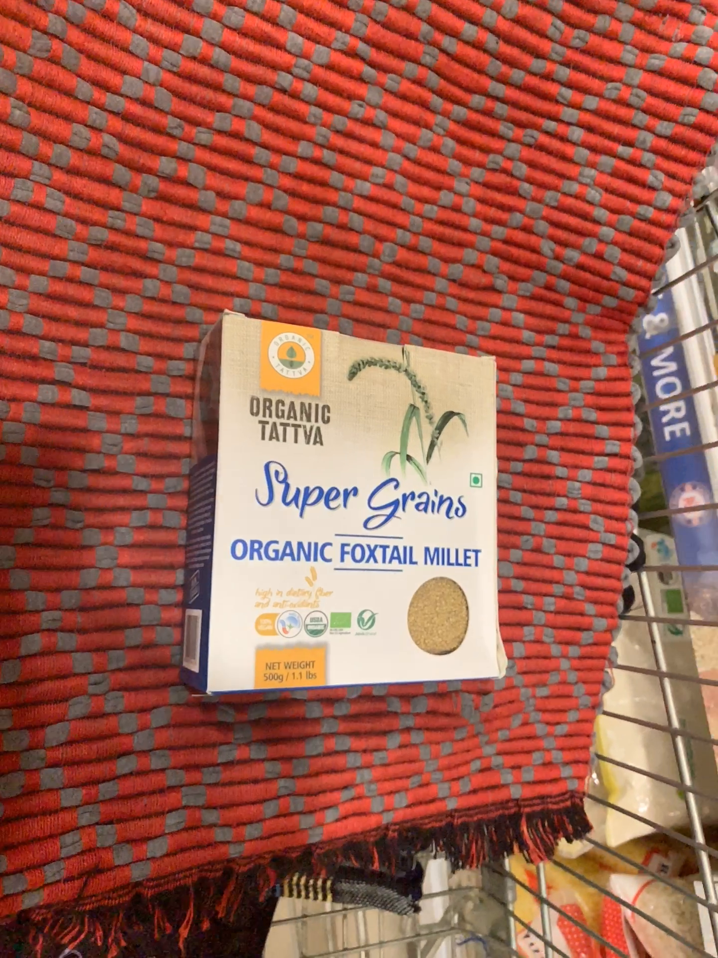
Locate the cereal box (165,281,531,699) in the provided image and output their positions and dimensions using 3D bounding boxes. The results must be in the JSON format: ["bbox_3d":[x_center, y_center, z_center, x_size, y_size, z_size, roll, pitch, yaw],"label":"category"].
[{"bbox_3d":[-0.003,0.010,0.320,0.140,0.060,0.150,5,81,-25],"label":"cereal box"}]
